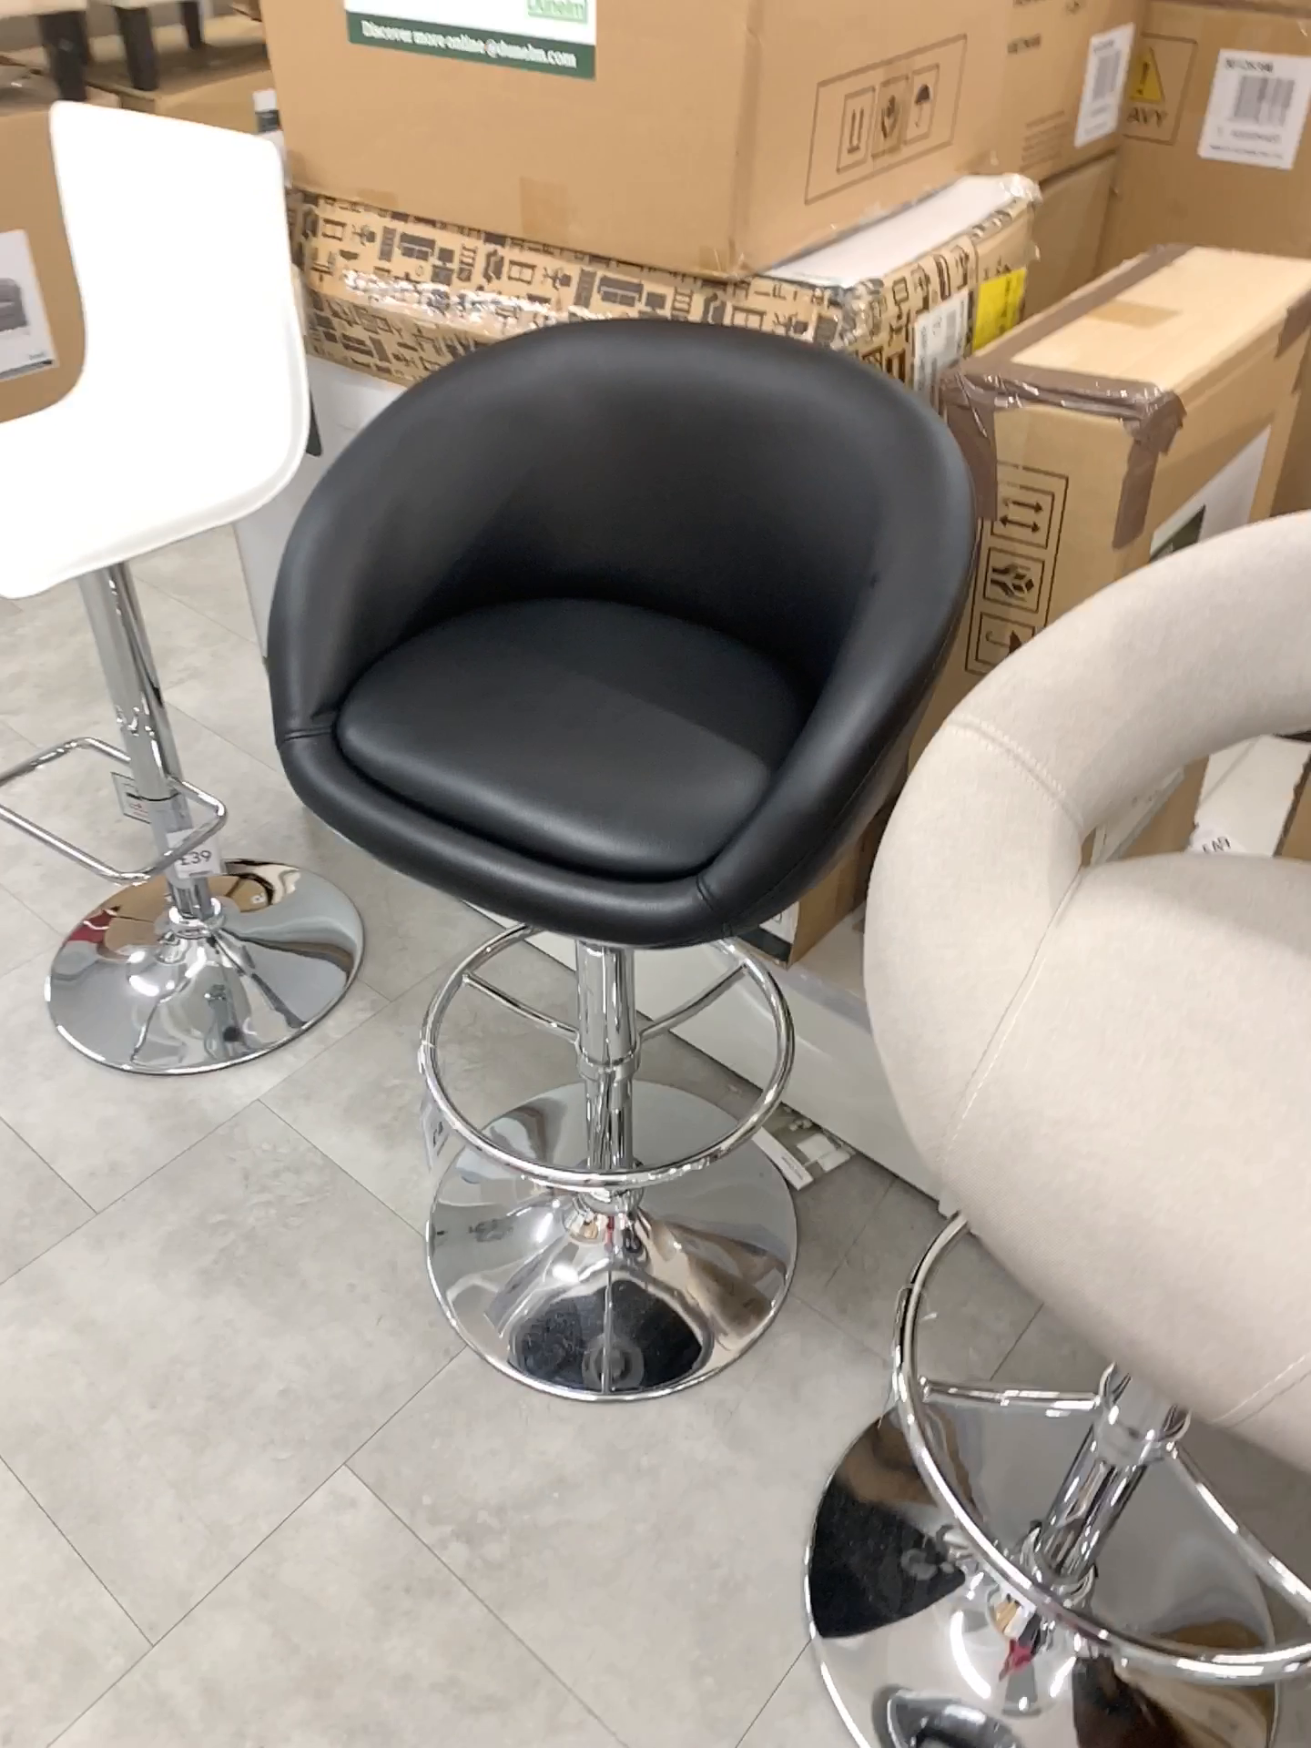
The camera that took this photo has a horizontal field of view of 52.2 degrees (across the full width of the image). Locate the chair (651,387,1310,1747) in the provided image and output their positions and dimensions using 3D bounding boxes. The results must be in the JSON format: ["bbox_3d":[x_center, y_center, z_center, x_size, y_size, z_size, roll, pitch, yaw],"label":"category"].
[{"bbox_3d":[0.304,0.255,0.868,0.445,0.918,0.433,23,45,24],"label":"chair"}]

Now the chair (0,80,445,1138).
[{"bbox_3d":[-0.587,-0.261,1.455,0.445,0.947,0.443,23,45,24],"label":"chair"}]

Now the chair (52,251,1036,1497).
[{"bbox_3d":[-0.065,0.017,1.158,0.476,0.868,0.443,25,46,26],"label":"chair"}]
